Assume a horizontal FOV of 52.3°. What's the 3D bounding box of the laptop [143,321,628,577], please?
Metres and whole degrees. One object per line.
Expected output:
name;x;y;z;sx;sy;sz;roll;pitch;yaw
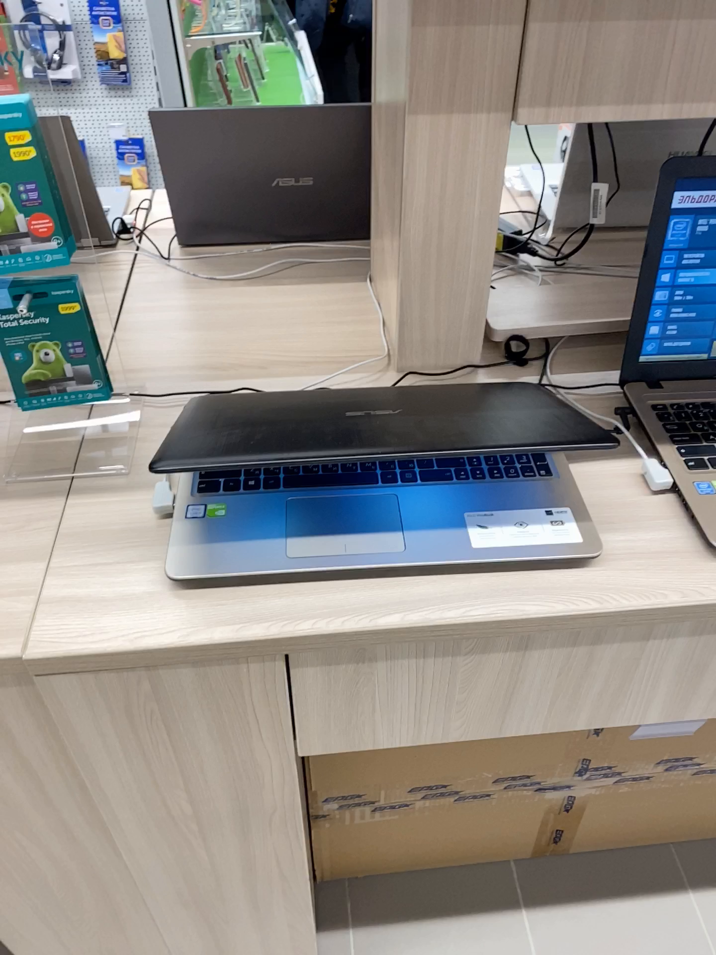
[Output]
laptop;0.017;-0.039;0.691;0.381;0.094;0.241;-2;42;-3
